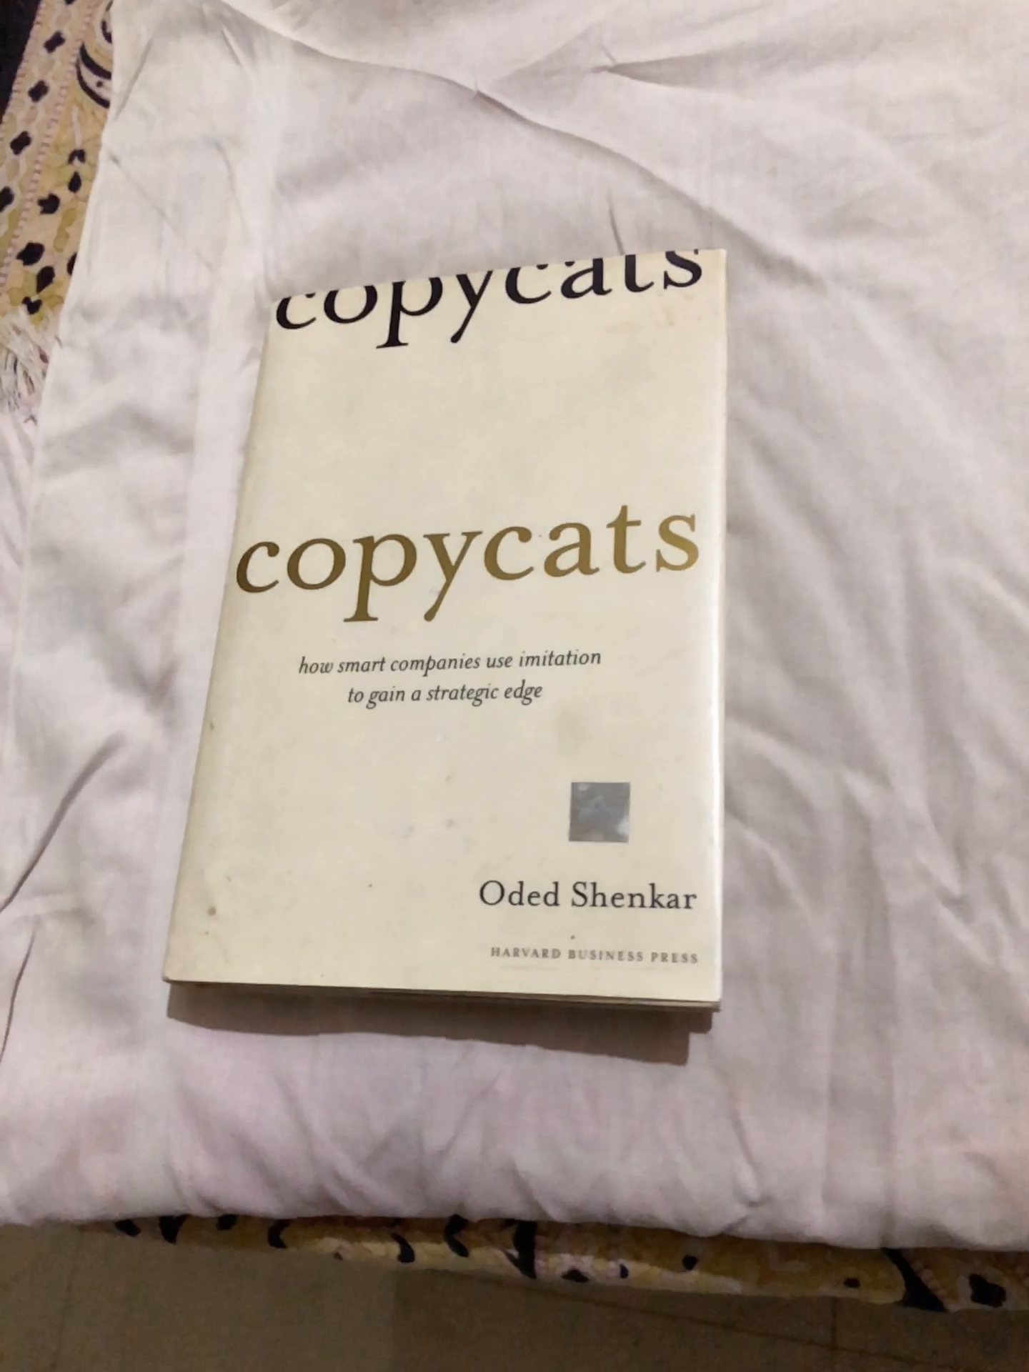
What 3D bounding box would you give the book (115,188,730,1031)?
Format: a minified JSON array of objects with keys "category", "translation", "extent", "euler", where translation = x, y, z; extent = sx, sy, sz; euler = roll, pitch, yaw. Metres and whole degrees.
[{"category":"book","translation":[-0.017,-0.026,0.330],"extent":[0.150,0.040,0.230],"euler":[-2,70,16]}]
